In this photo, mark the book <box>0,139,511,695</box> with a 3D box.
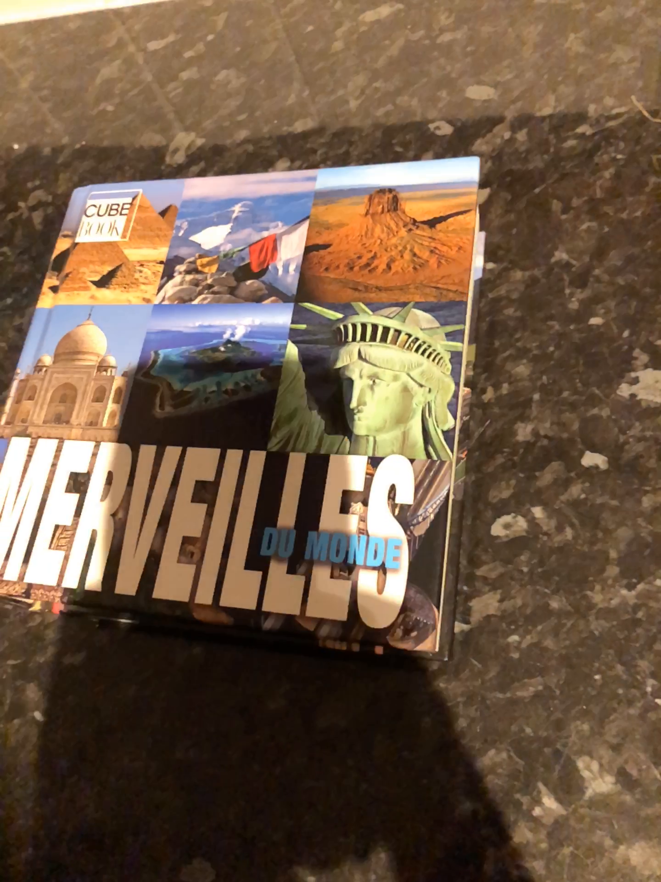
[{"bbox_3d":[-0.032,-0.011,0.252,0.170,0.060,0.160,2,68,18],"label":"book"}]
